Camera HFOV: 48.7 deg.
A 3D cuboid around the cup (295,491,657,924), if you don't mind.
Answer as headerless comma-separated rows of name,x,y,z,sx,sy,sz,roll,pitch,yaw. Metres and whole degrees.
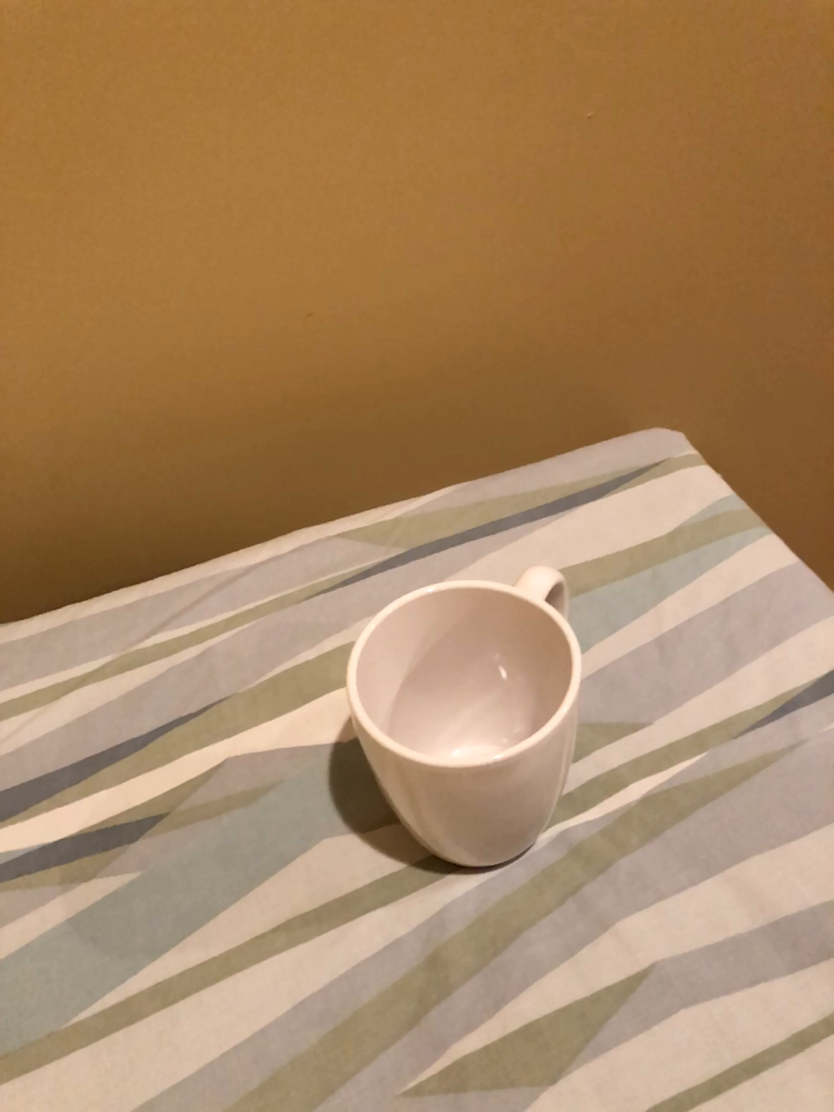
cup,0.030,0.055,0.370,0.090,0.090,0.120,17,50,23
